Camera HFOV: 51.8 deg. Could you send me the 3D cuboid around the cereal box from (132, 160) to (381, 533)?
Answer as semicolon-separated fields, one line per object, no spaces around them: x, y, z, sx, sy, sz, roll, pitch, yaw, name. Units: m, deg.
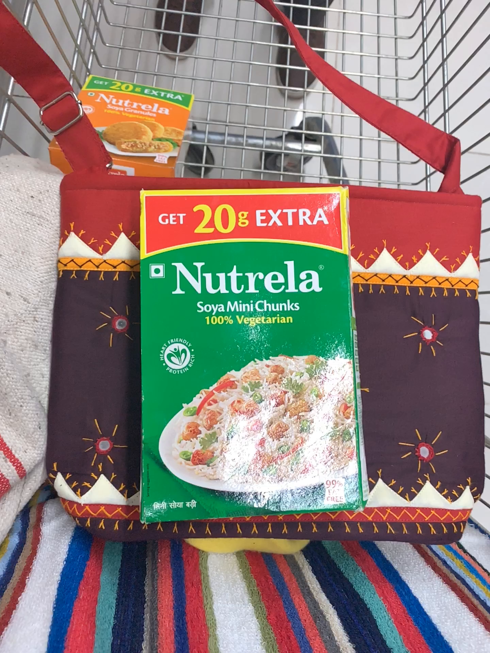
0.003;0.008;0.287;0.120;0.050;0.190;-2;83;-4;cereal box
